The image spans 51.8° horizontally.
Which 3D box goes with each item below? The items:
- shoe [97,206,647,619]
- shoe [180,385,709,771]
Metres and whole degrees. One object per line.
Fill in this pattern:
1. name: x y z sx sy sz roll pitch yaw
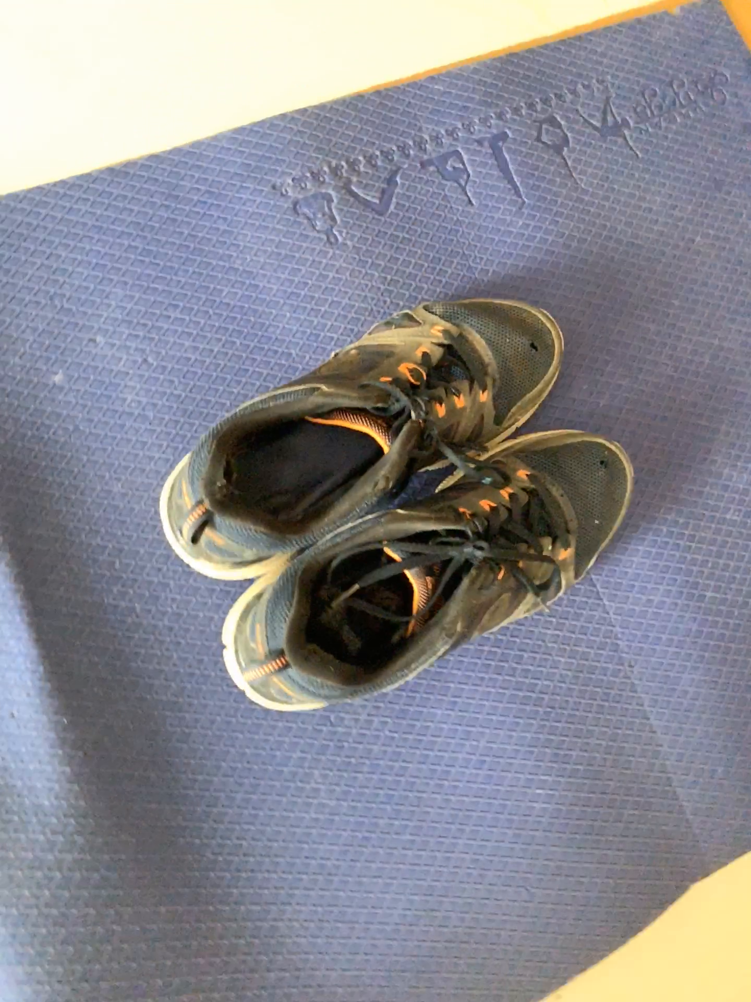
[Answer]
1. shoe: 0.002 -0.056 0.485 0.311 0.100 0.110 -30 91 -17
2. shoe: 0.045 0.044 0.507 0.321 0.100 0.100 -25 83 -17
